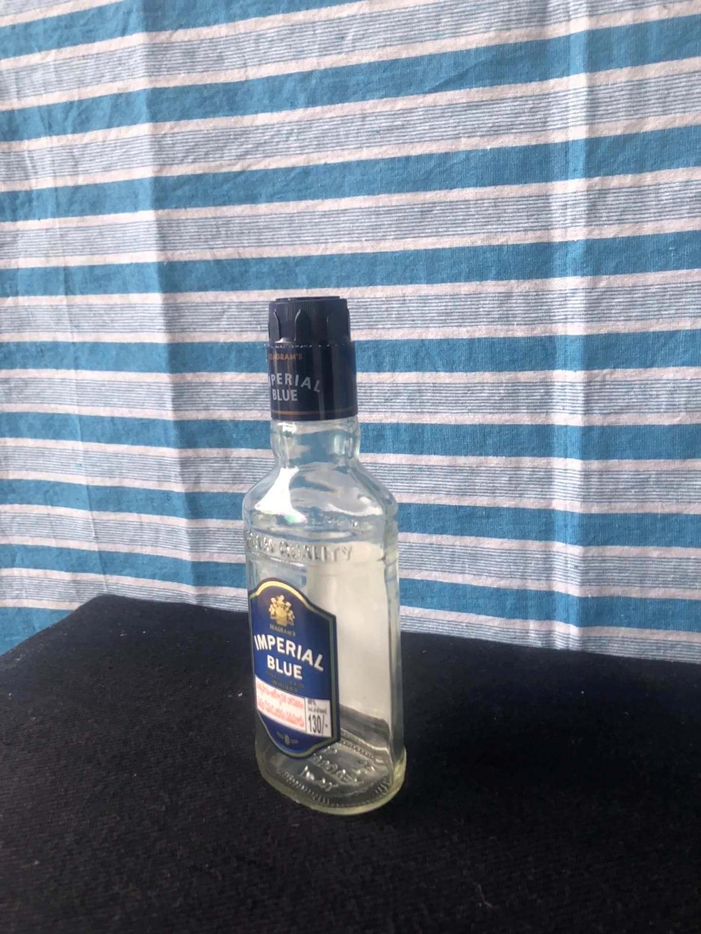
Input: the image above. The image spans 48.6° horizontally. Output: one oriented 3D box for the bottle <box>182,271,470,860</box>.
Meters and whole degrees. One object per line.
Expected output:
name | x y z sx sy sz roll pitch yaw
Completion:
bottle | -0.006 0.025 0.251 0.070 0.169 0.050 10 17 38
